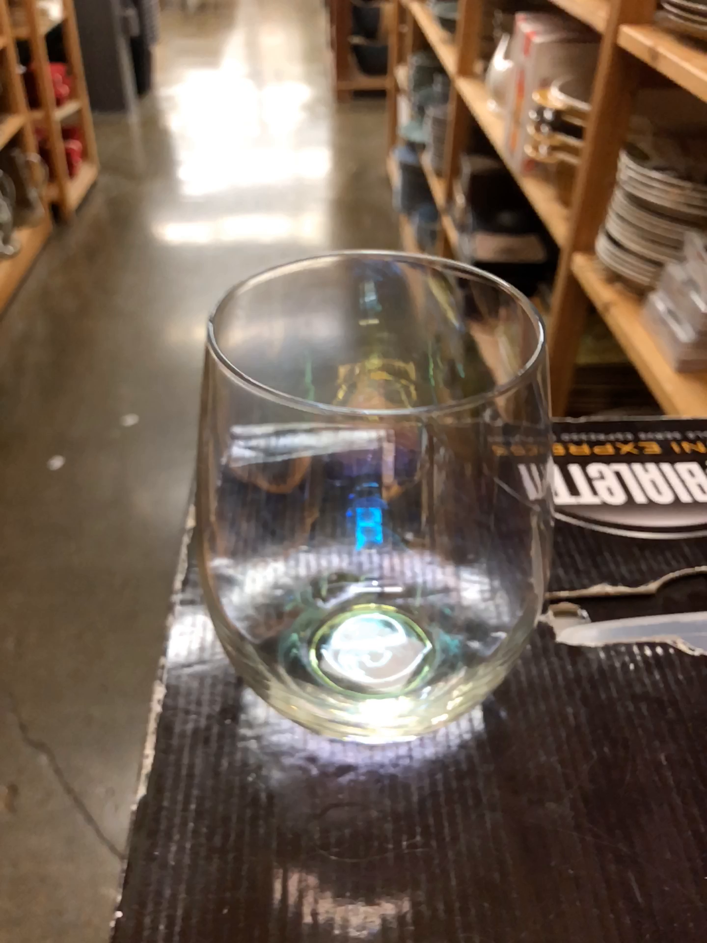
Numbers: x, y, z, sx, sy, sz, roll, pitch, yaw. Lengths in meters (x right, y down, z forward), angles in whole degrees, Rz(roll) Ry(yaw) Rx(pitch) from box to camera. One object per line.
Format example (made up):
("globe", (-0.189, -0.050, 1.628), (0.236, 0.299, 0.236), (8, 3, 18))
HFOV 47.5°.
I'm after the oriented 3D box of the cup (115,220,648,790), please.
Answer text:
("cup", (0.002, 0.007, 0.204), (0.089, 0.107, 0.093), (0, 38, 0))
